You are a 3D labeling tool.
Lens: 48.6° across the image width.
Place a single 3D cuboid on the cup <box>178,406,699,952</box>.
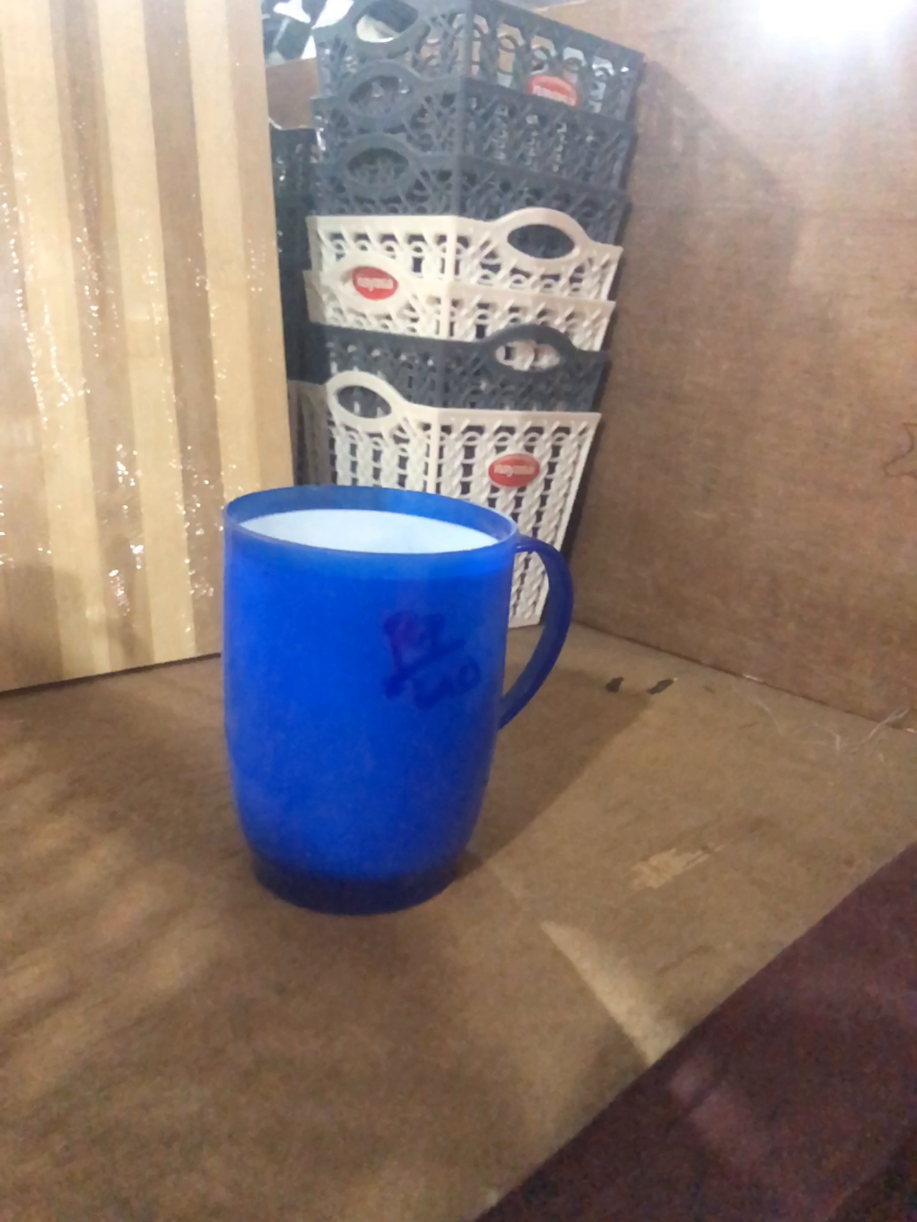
[{"bbox_3d":[-0.008,0.007,0.270,0.110,0.110,0.070,-9,23,-37],"label":"cup"}]
